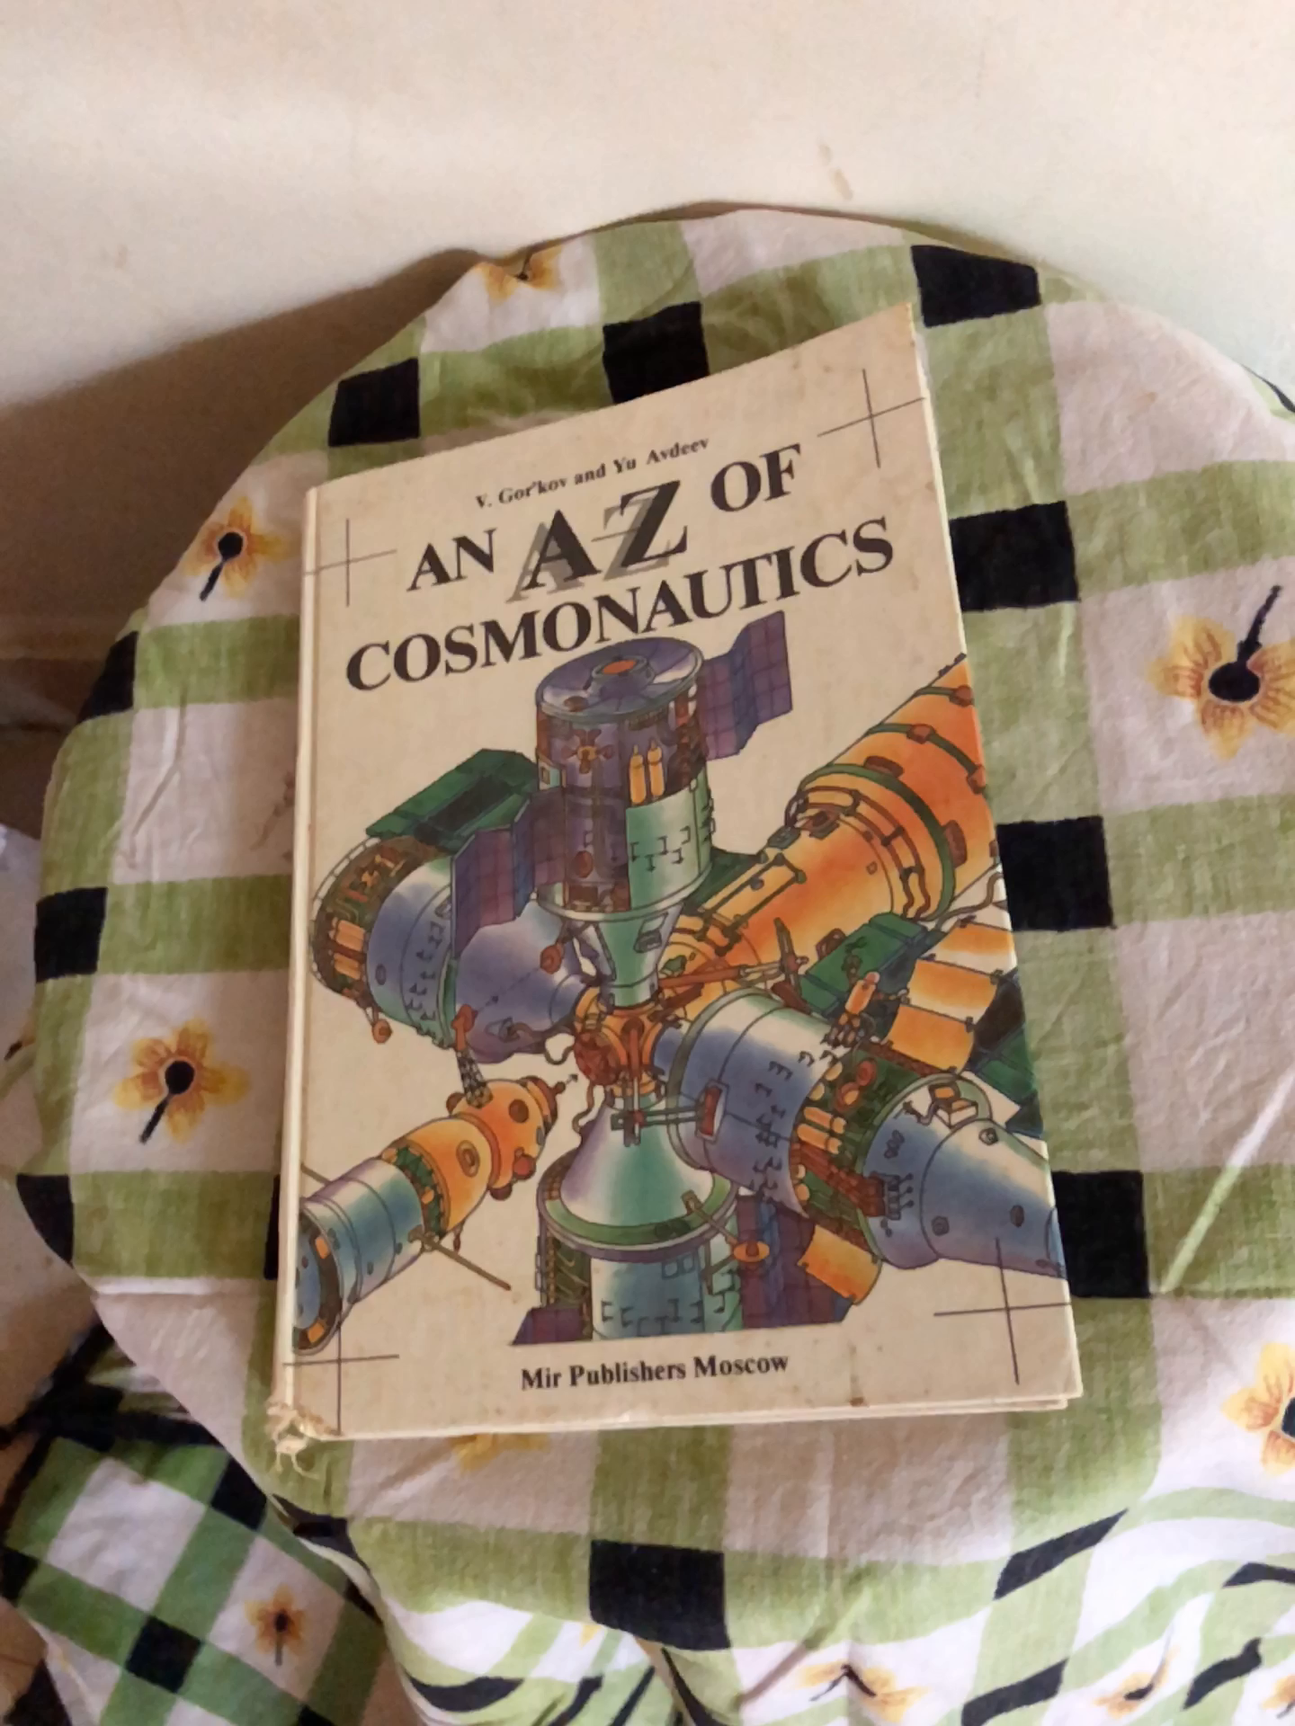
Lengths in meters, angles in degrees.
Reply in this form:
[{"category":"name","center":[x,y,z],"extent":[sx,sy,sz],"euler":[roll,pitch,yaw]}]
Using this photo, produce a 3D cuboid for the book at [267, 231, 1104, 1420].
[{"category":"book","center":[0.001,-0.008,0.369],"extent":[0.180,0.060,0.270],"euler":[-9,71,15]}]
